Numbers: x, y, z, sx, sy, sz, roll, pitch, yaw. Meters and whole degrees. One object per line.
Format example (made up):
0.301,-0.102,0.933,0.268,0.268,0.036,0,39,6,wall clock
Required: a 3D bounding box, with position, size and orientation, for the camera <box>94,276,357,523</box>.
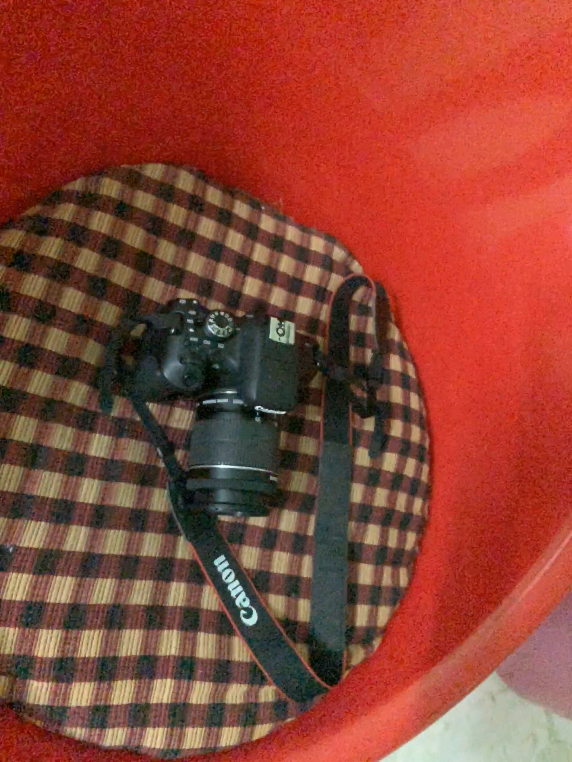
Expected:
-0.047,0.026,0.445,0.140,0.130,0.138,14,74,-27,camera
